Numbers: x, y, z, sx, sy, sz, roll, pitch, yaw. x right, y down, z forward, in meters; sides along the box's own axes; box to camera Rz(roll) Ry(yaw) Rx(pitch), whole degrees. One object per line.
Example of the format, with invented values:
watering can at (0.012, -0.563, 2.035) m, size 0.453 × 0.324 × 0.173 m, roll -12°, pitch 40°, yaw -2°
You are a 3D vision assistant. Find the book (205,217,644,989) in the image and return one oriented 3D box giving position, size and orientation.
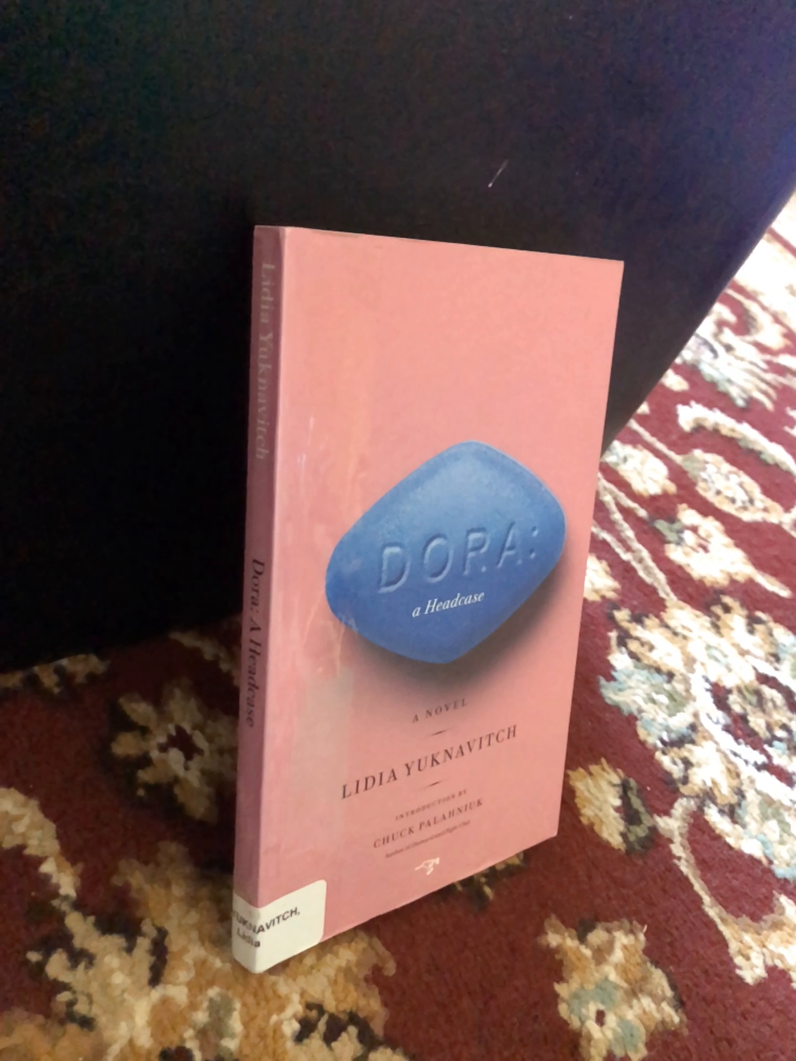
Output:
book at (0.010, 0.022, 0.306) m, size 0.149 × 0.231 × 0.030 m, roll -8°, pitch 20°, yaw -37°
